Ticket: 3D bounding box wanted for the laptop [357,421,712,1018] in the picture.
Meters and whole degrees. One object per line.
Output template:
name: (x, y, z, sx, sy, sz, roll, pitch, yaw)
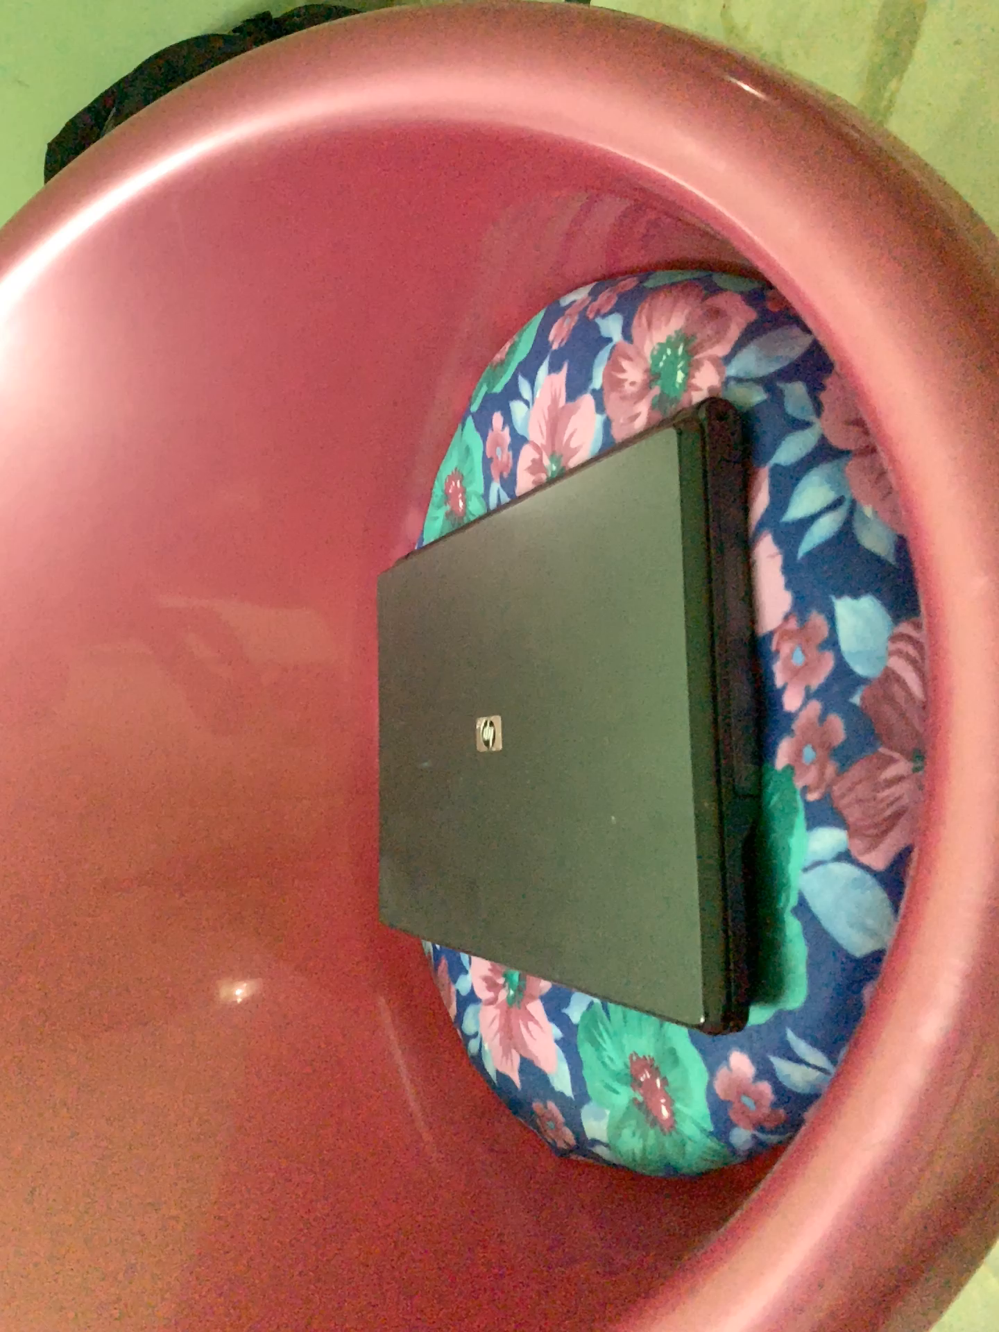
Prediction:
laptop: (-0.007, 0.032, 0.509, 0.305, 0.003, 0.222, -11, 79, 58)
